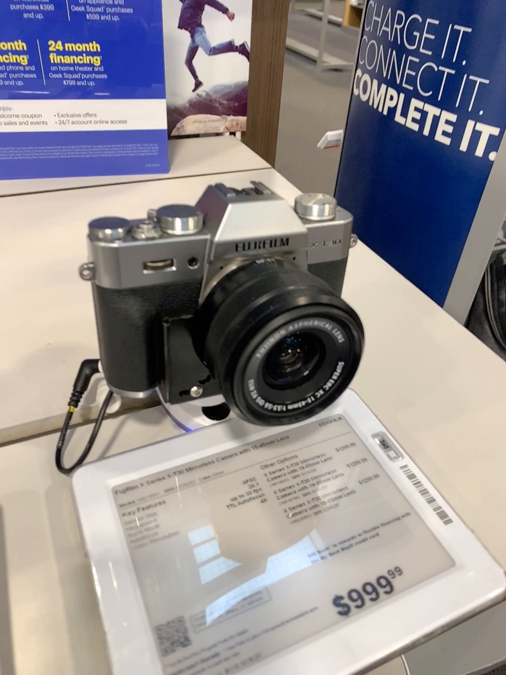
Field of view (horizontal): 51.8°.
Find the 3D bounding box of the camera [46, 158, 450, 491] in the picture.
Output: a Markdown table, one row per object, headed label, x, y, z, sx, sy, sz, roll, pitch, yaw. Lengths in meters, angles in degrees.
| label | x | y | z | sx | sy | sz | roll | pitch | yaw |
| --- | --- | --- | --- | --- | --- | --- | --- | --- | --- |
| camera | -0.010 | -0.016 | 0.228 | 0.130 | 0.080 | 0.101 | -12 | 42 | -19 |
